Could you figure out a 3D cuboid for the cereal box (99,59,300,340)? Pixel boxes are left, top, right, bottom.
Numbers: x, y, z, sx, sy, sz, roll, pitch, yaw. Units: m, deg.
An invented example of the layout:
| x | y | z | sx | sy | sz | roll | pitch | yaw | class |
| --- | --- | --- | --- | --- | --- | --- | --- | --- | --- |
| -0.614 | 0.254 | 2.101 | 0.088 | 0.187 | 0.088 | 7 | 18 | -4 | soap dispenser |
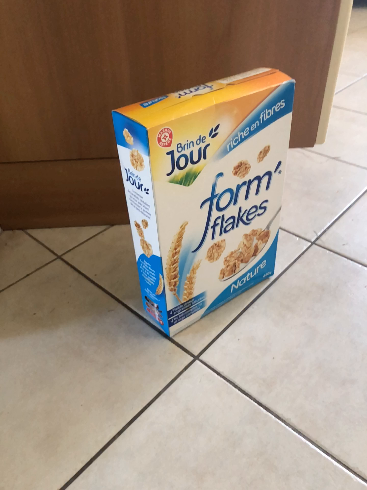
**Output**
| x | y | z | sx | sy | sz | roll | pitch | yaw | class |
| --- | --- | --- | --- | --- | --- | --- | --- | --- | --- |
| 0.029 | -0.049 | 0.486 | 0.201 | 0.278 | 0.070 | -27 | 43 | -27 | cereal box |
